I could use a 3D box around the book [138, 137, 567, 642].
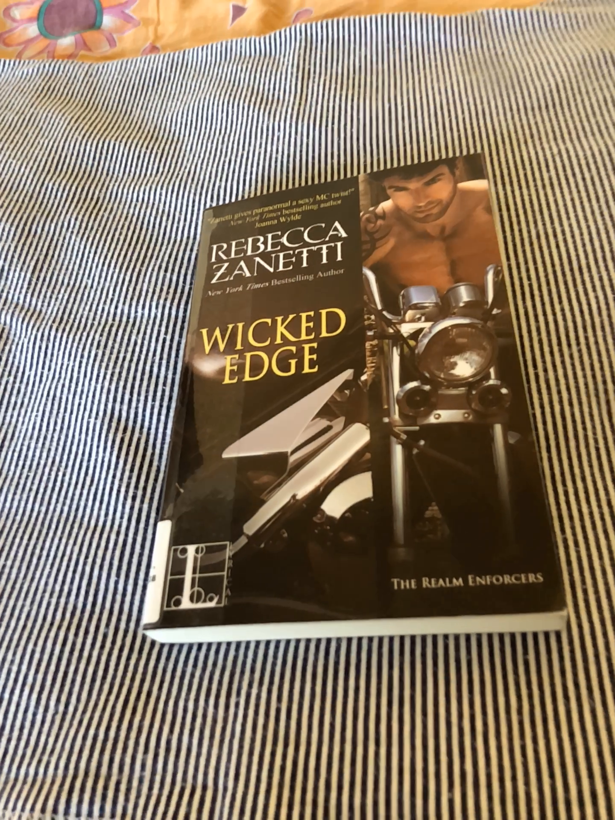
[{"bbox_3d":[0.016,-0.020,0.283,0.137,0.030,0.215,-6,57,12],"label":"book"}]
